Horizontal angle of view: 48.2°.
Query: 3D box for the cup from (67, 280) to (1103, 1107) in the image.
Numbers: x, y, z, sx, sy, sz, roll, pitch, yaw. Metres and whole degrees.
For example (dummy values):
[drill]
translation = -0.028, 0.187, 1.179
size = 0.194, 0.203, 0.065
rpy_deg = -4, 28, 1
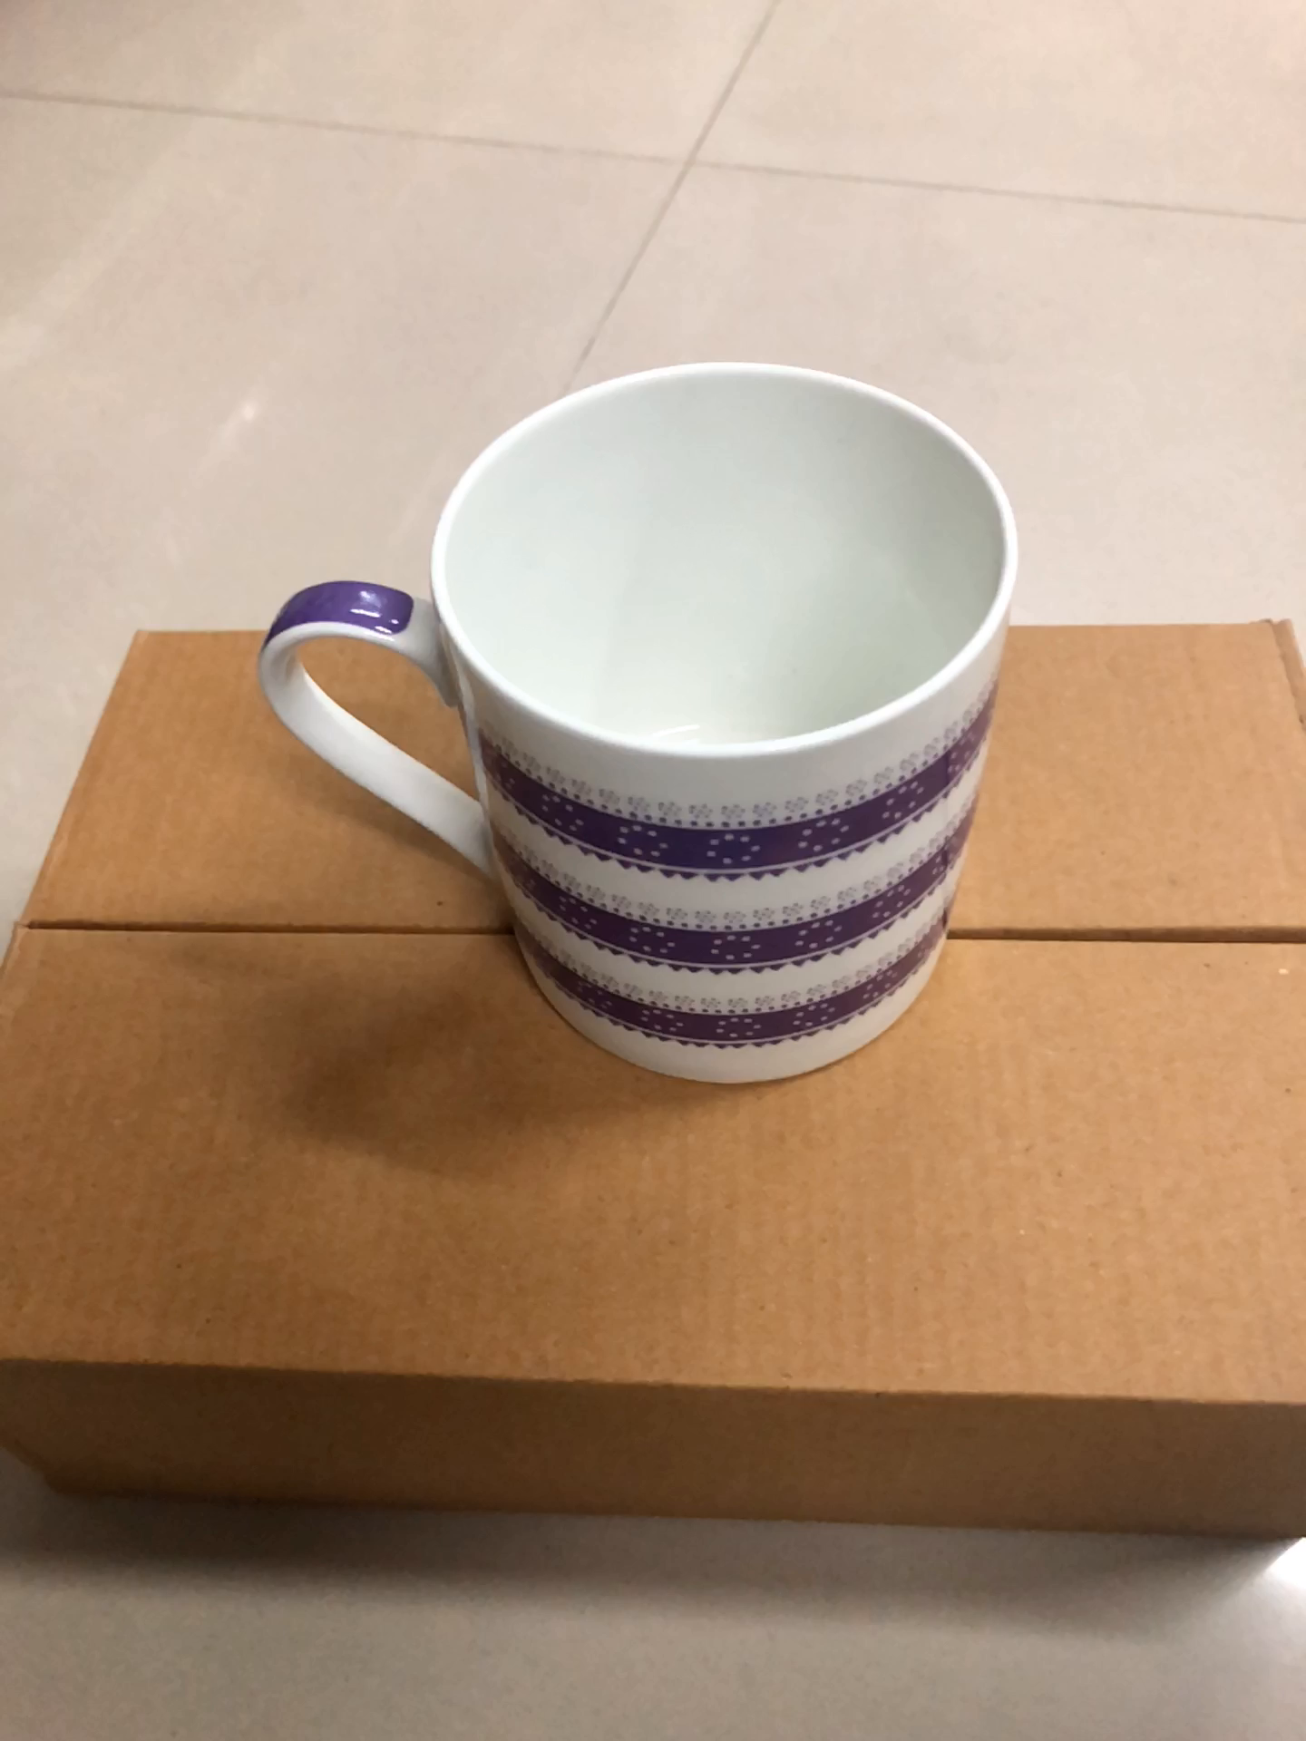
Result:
[cup]
translation = -0.004, -0.026, 0.231
size = 0.120, 0.090, 0.090
rpy_deg = 1, 53, 5
